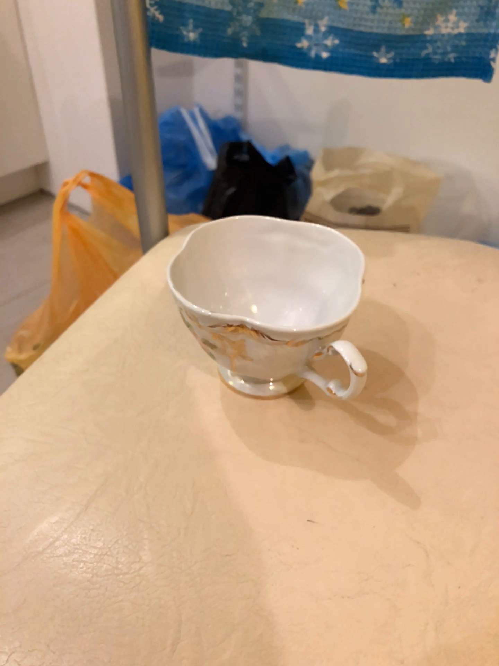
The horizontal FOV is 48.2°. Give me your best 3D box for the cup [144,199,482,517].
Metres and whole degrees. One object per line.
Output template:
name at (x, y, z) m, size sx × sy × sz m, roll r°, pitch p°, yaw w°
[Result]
cup at (0.020, -0.001, 0.281) m, size 0.100 × 0.064 × 0.140 m, roll -16°, pitch 42°, yaw -21°
